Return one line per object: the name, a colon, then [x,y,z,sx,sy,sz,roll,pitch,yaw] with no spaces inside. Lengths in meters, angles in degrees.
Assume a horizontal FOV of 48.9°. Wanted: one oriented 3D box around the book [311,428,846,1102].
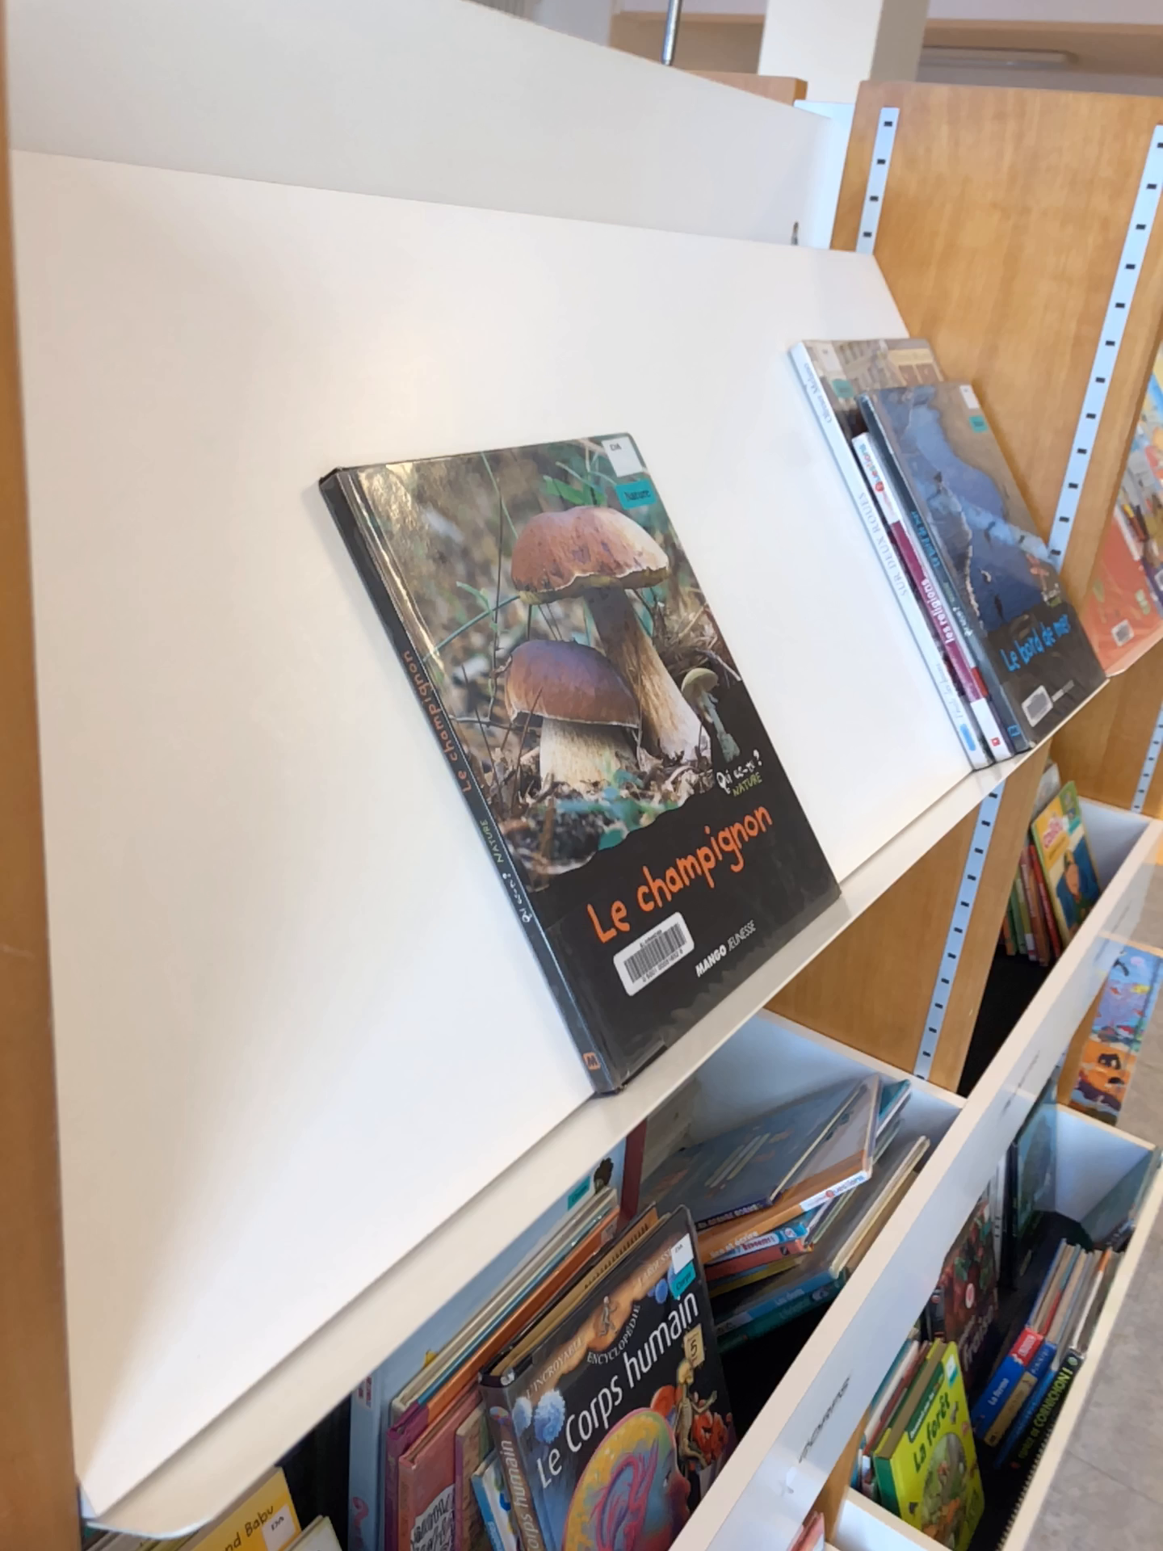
book: [0.015,-0.023,0.537,0.020,0.242,0.203,-23,3,37]
